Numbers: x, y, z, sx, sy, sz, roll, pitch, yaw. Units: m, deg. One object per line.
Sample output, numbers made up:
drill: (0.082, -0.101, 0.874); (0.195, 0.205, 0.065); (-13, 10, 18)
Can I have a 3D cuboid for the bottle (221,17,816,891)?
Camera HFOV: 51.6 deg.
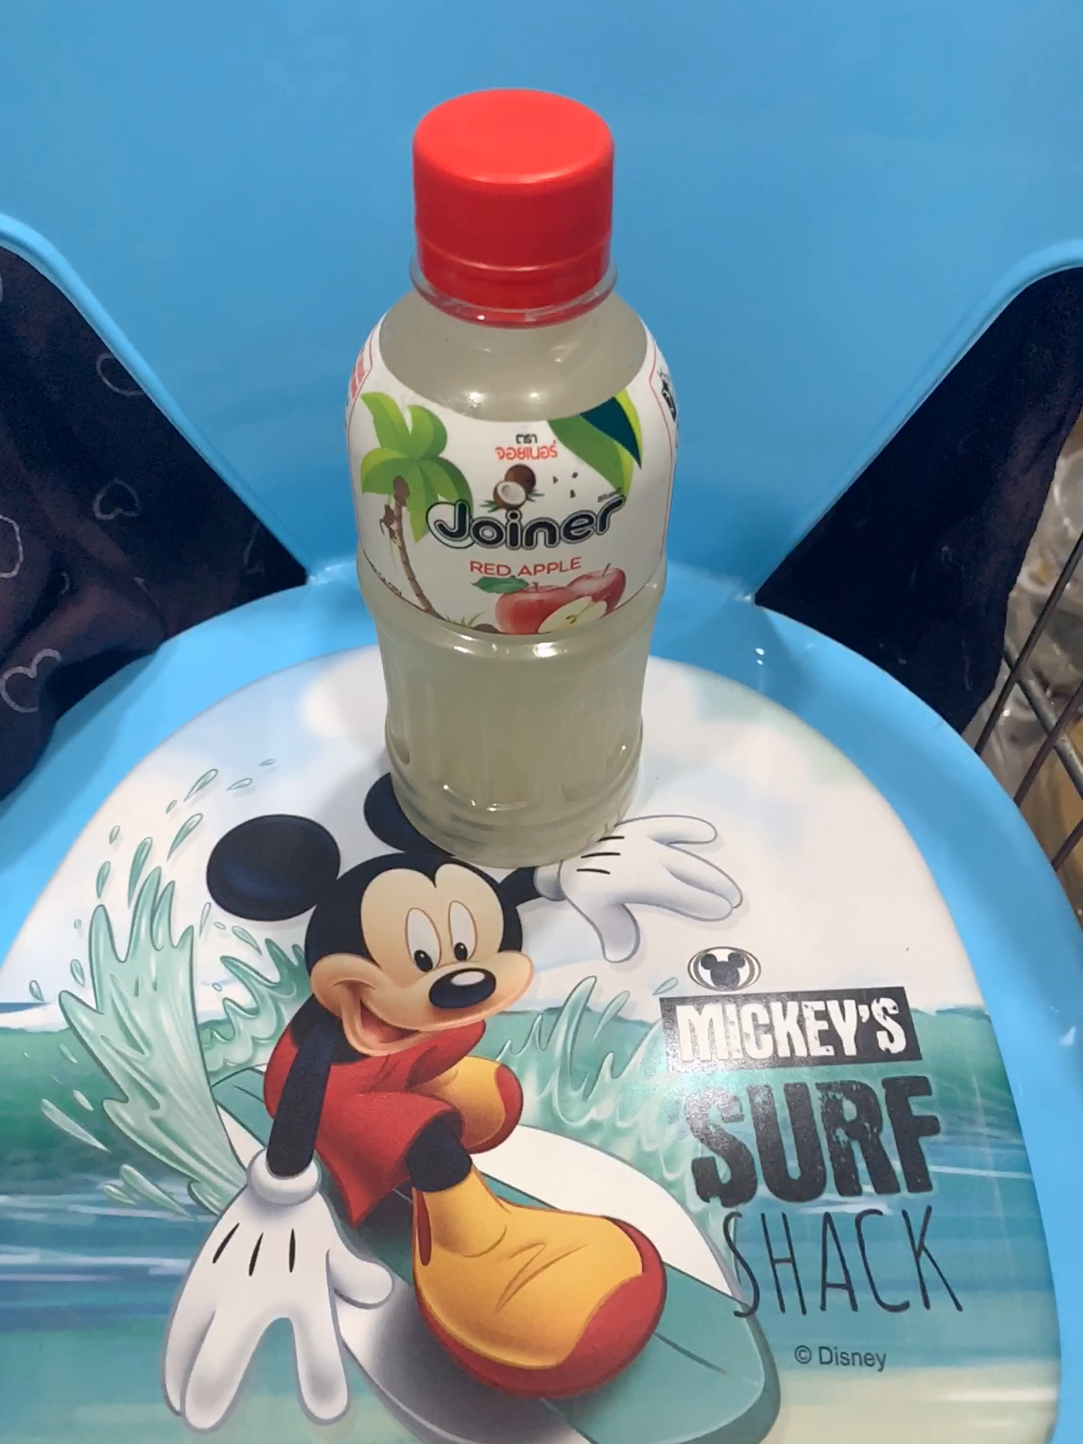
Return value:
bottle: (-0.002, -0.035, 0.208); (0.070, 0.150, 0.060); (-1, 49, 0)
